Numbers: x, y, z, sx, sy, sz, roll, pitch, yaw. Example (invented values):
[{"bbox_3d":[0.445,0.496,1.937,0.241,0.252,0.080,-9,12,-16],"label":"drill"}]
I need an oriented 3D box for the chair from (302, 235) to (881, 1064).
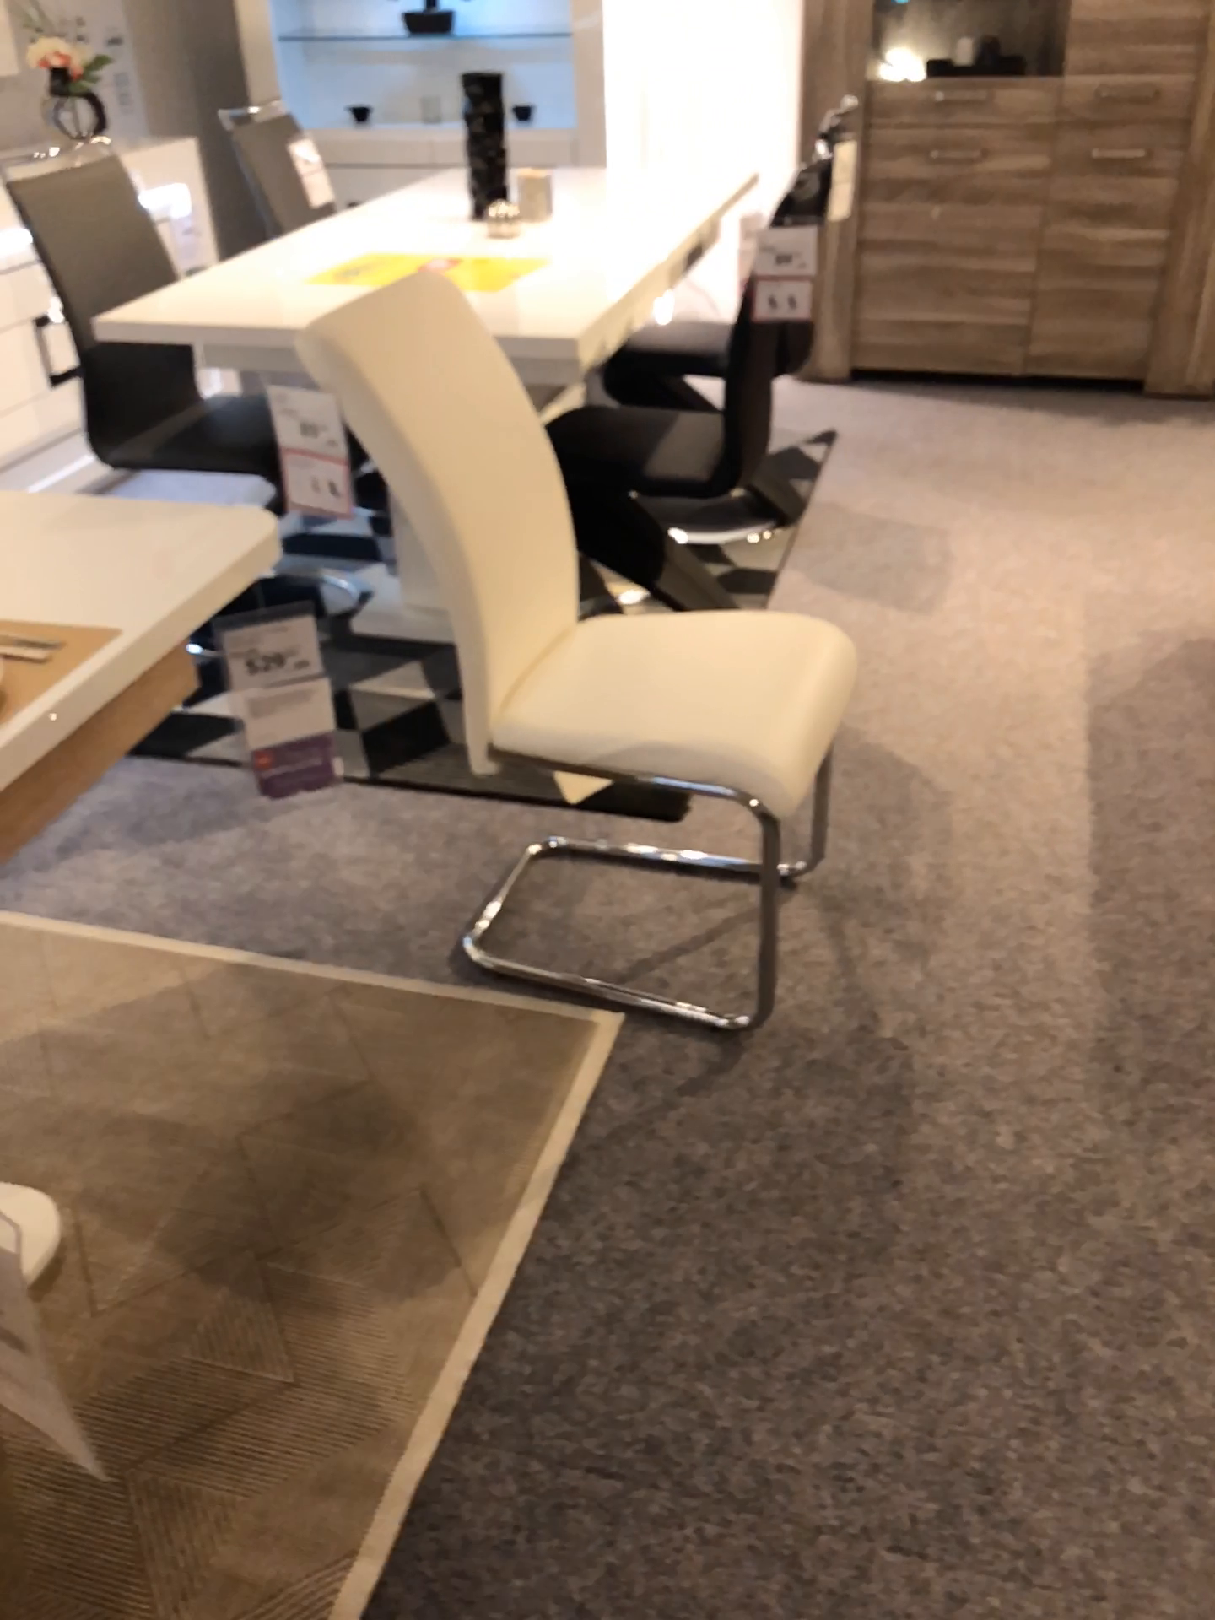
[{"bbox_3d":[0.026,-0.221,1.793,0.550,0.925,0.503,7,33,14],"label":"chair"}]
